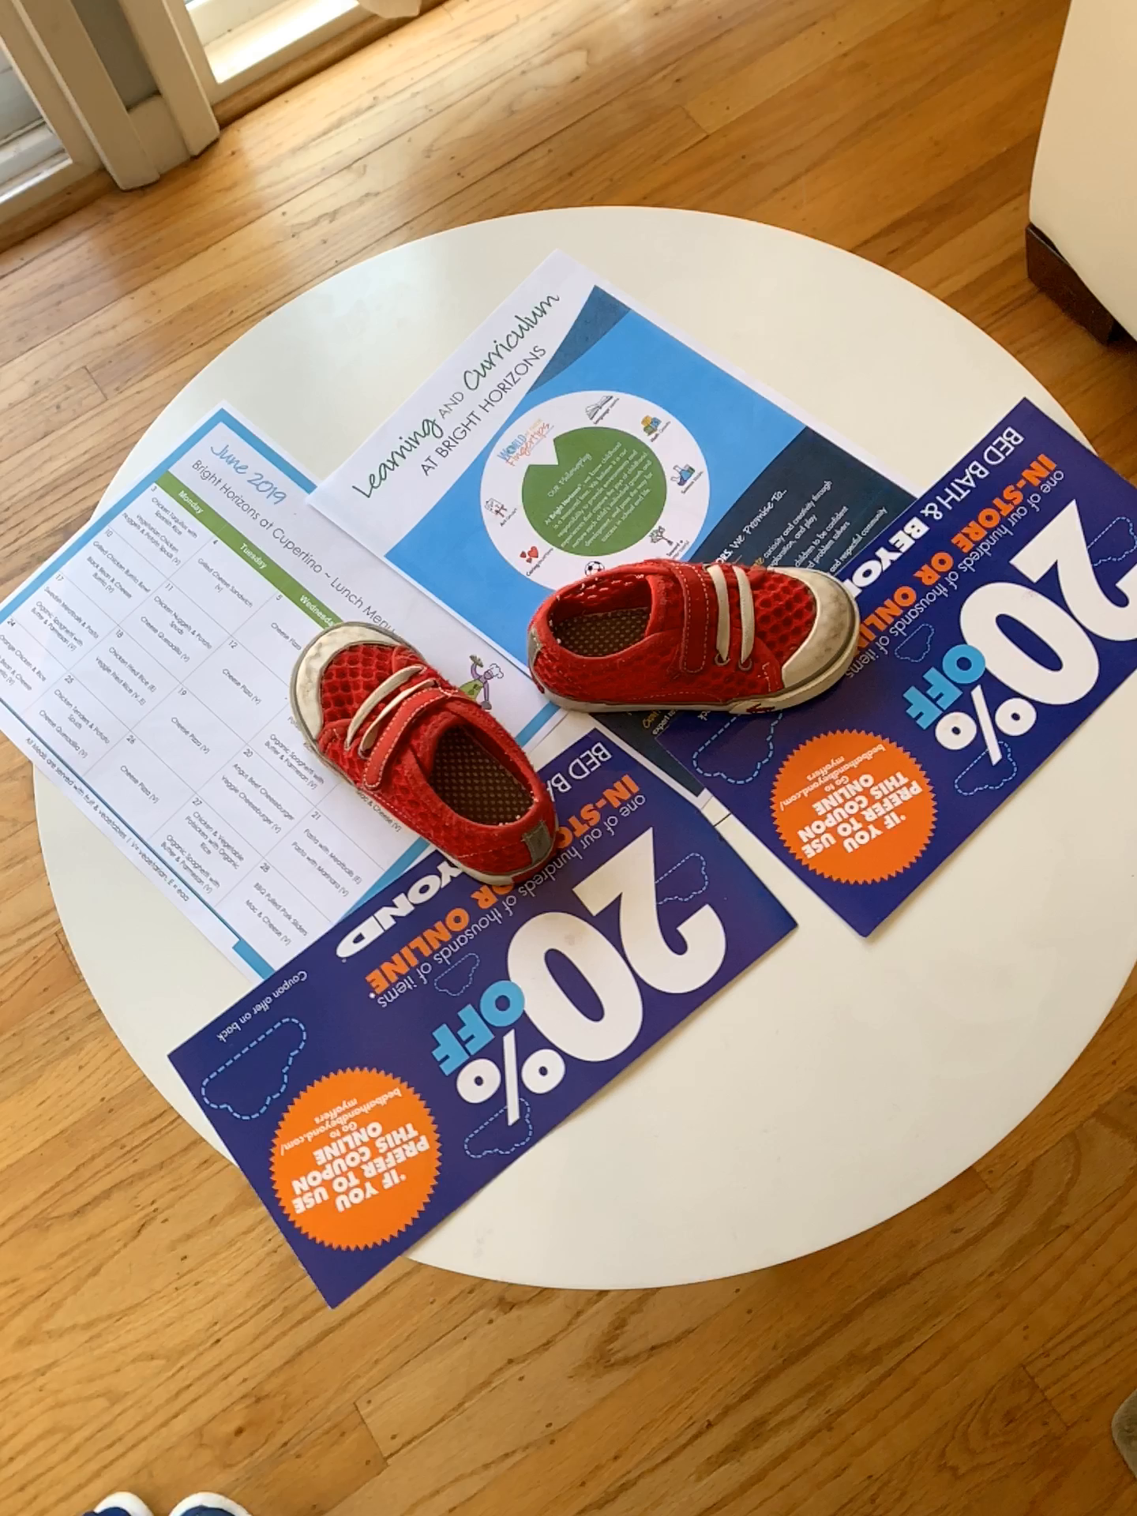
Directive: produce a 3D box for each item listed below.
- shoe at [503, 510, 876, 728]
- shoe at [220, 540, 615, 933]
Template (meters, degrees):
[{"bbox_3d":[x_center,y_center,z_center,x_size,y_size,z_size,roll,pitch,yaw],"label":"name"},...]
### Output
[{"bbox_3d":[0.060,-0.071,0.616,0.180,0.070,0.080,-4,72,3],"label":"shoe"},{"bbox_3d":[-0.068,-0.009,0.552,0.170,0.070,0.080,41,79,15],"label":"shoe"}]
